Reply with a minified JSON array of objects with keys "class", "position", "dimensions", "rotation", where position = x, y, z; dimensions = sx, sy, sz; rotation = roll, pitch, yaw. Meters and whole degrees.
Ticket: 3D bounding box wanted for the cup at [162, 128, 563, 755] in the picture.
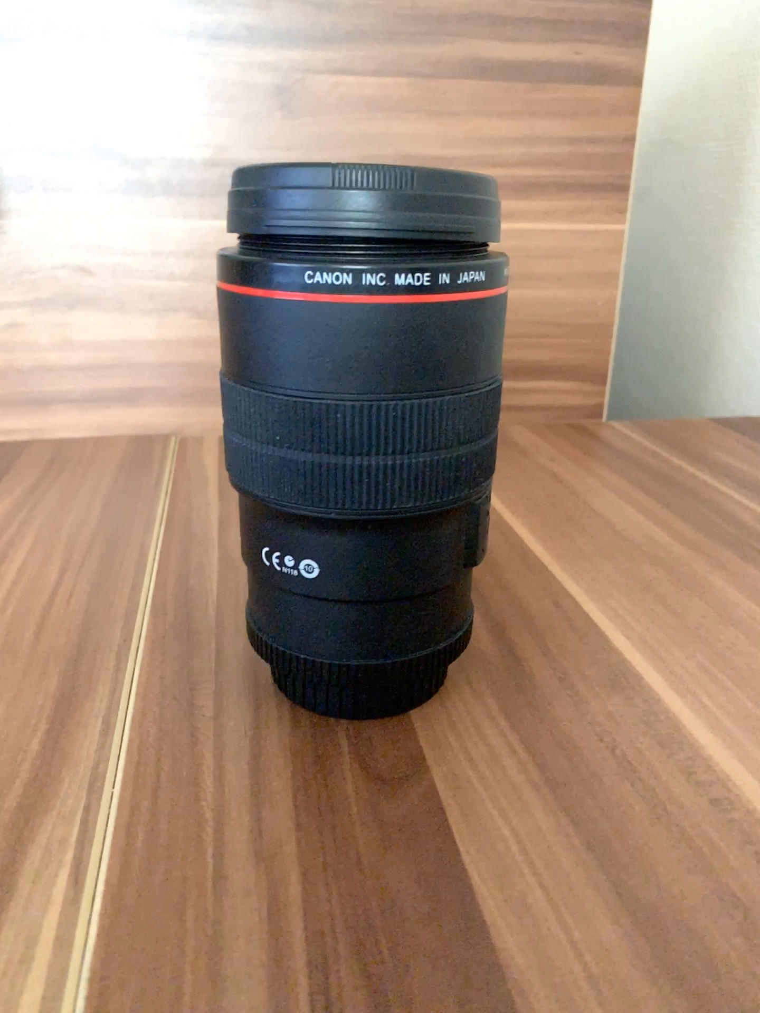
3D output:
[{"class":"cup","position":[-0.010,-0.023,0.218],"dimensions":[0.070,0.139,0.080],"rotation":[-9,23,-25]}]
